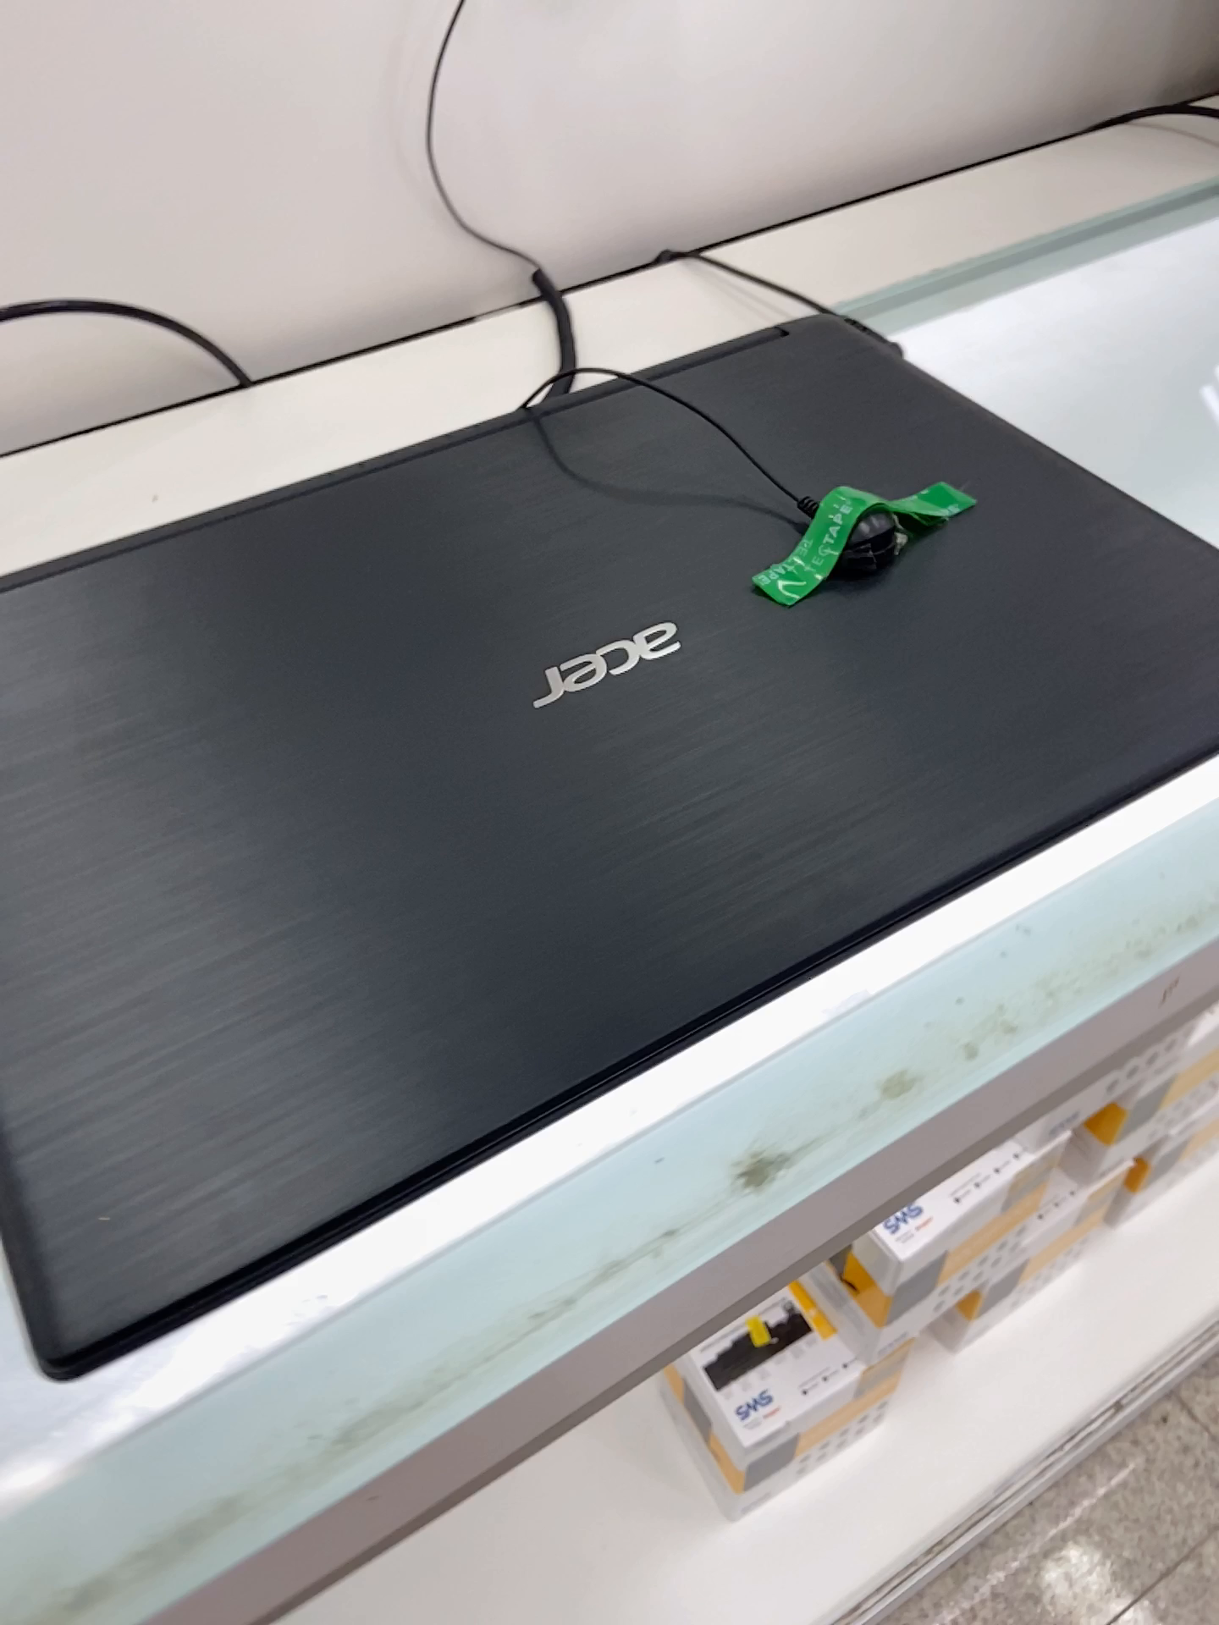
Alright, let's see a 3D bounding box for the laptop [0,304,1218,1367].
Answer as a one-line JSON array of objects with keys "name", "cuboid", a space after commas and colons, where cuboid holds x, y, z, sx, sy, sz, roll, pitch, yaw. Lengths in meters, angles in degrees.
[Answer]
[{"name": "laptop", "cuboid": [-0.002, -0.052, 0.374, 0.387, 0.001, 0.248, -26, 52, -20]}]
